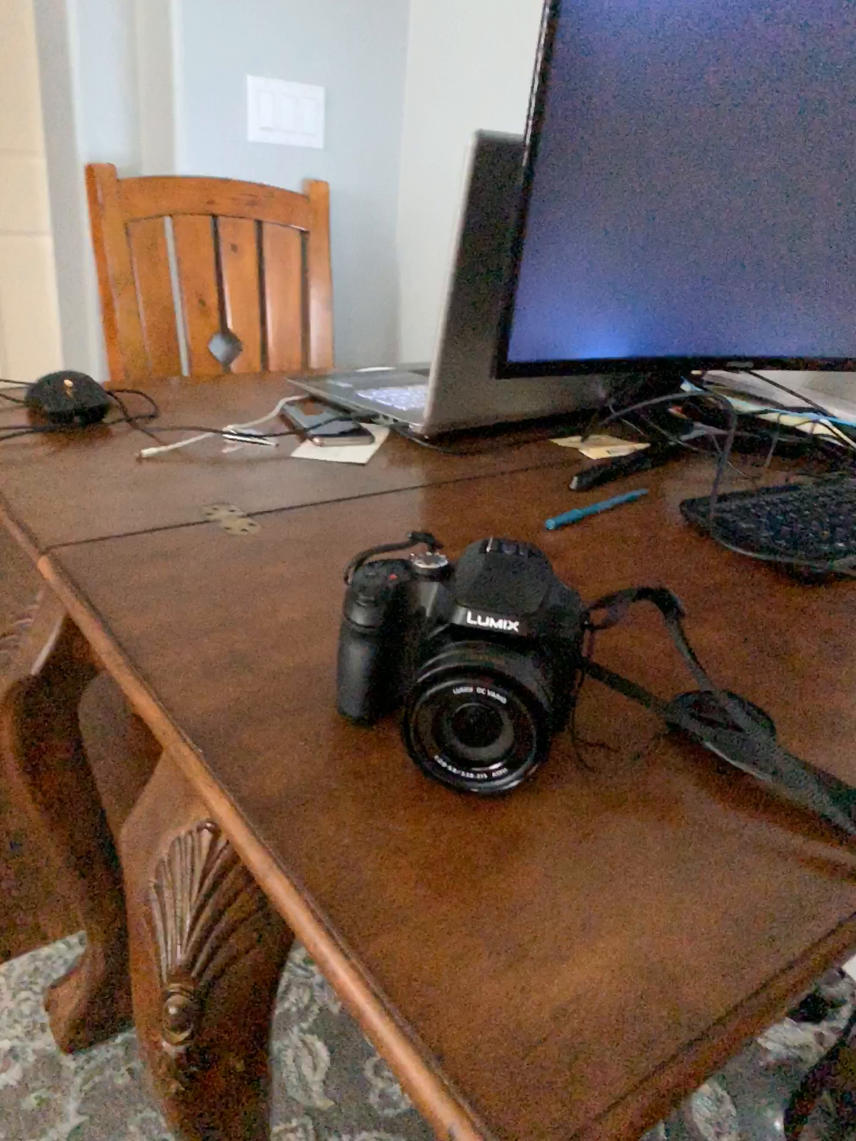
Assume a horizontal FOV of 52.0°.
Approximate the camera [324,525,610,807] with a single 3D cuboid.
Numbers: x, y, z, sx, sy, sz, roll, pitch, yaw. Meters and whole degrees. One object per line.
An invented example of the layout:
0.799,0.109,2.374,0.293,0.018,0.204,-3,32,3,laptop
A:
0.023,0.045,0.473,0.130,0.089,0.111,8,24,6,camera
